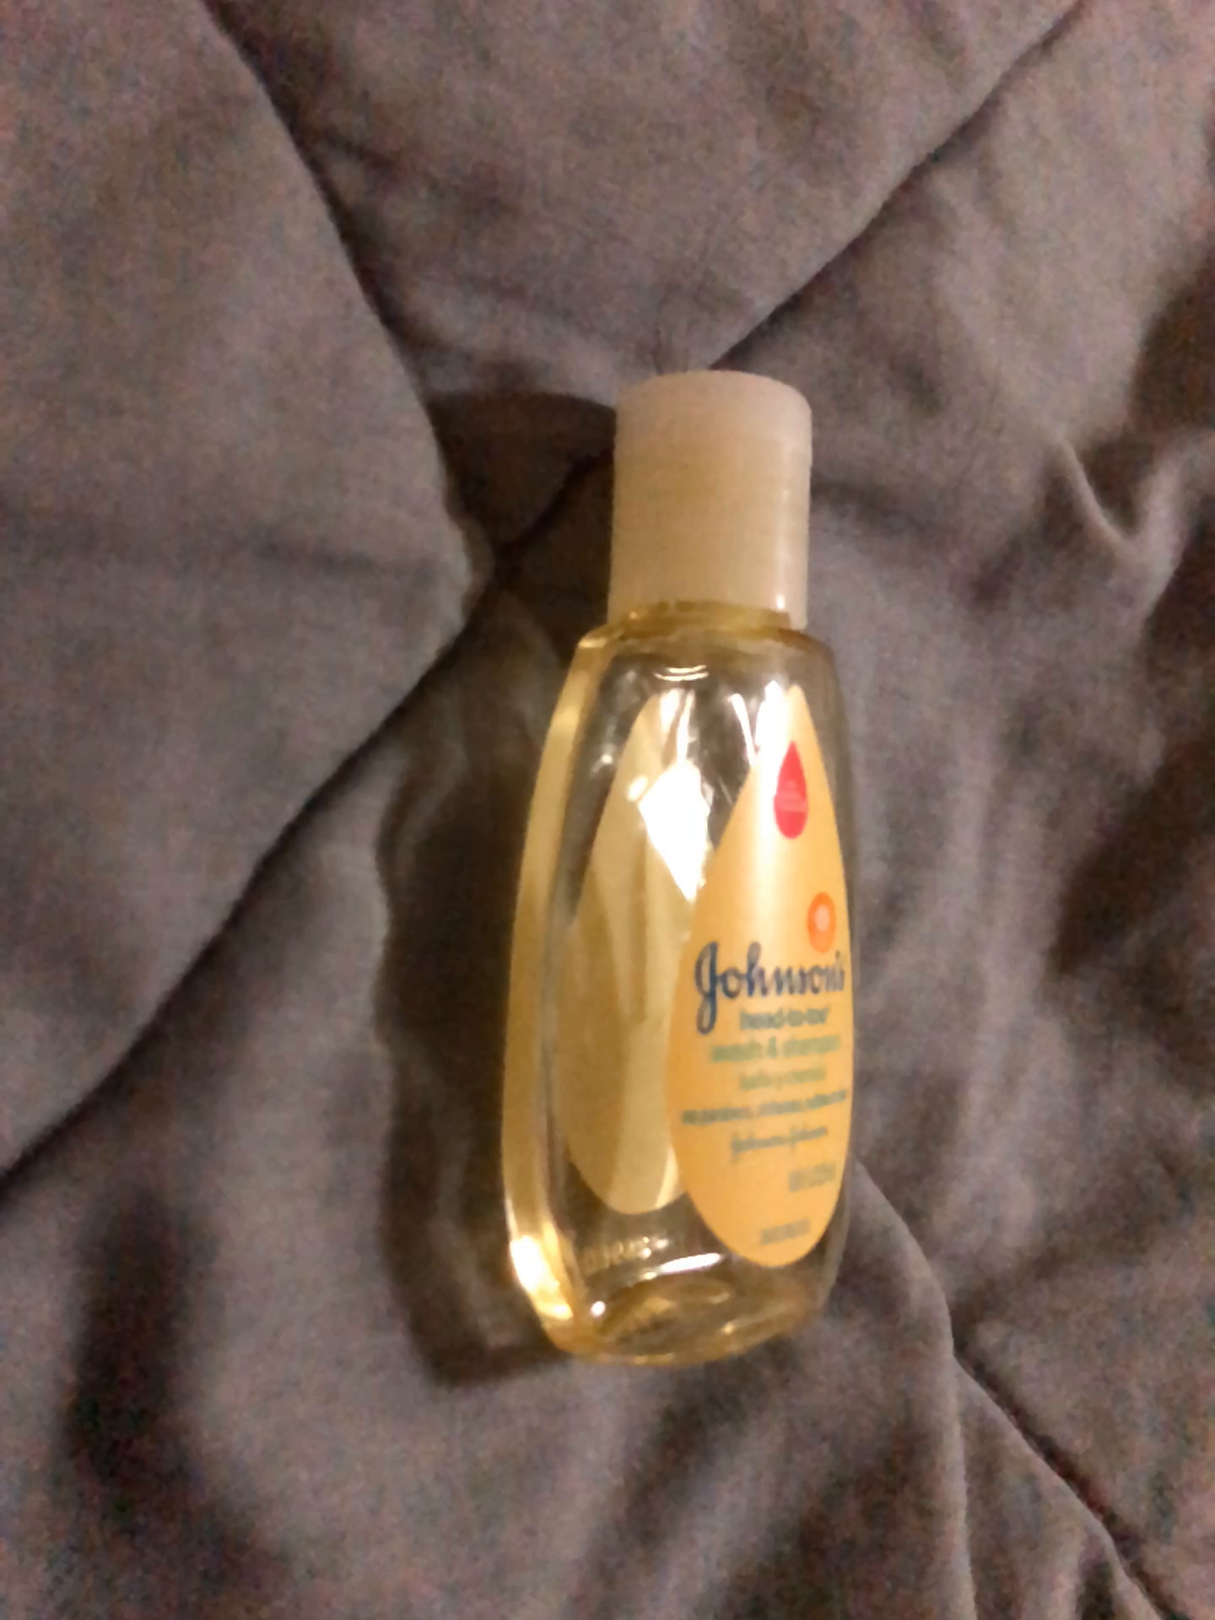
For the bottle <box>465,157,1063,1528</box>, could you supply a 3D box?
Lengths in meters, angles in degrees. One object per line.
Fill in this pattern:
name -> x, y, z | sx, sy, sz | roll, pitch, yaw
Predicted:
bottle -> 0.015, 0.002, 0.114 | 0.050, 0.020, 0.090 | 5, 83, -43
